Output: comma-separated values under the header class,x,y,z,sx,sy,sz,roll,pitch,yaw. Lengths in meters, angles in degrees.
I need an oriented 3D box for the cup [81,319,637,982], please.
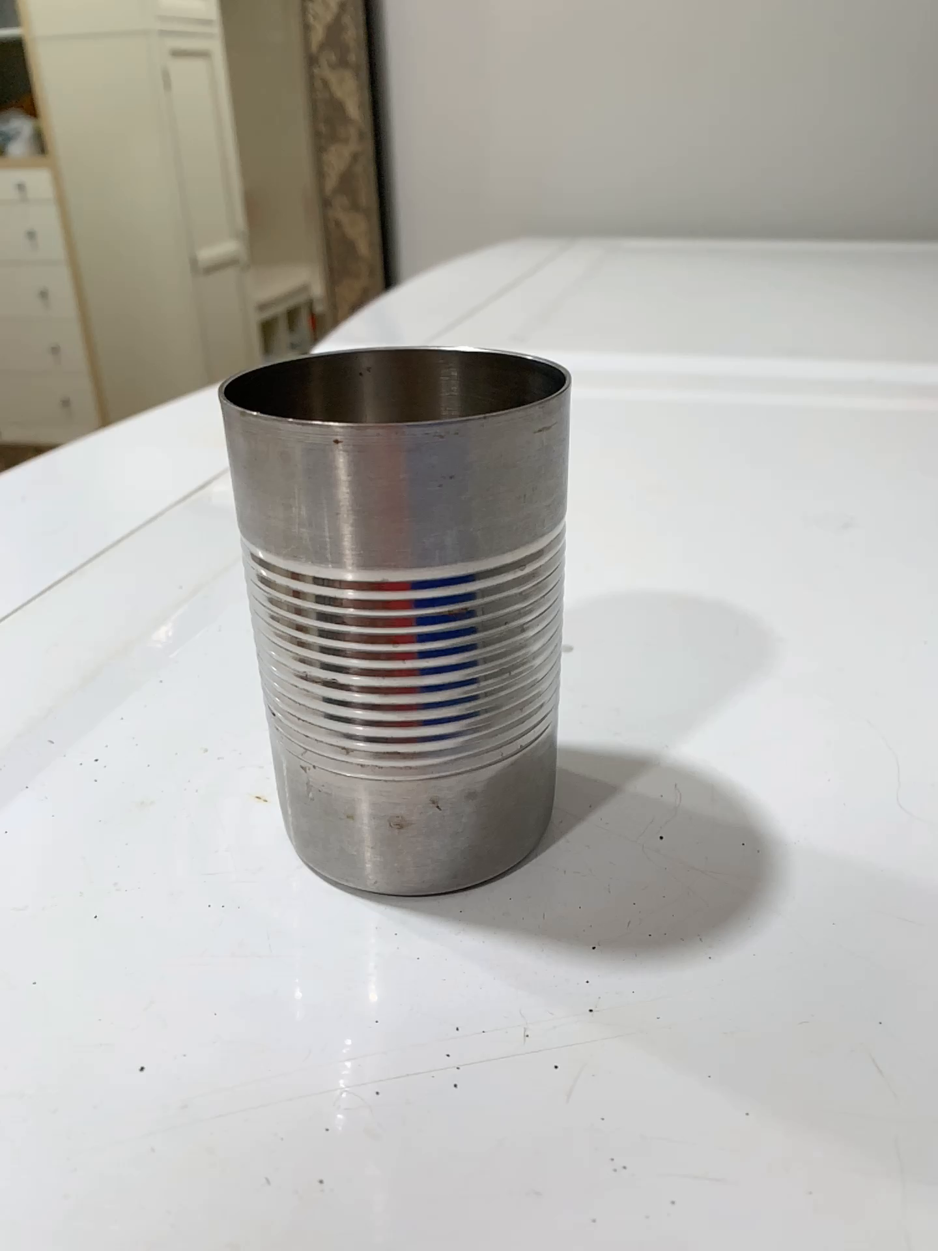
class,x,y,z,sx,sy,sz,roll,pitch,yaw
cup,-0.019,-0.003,0.195,0.070,0.095,0.070,-1,27,1
